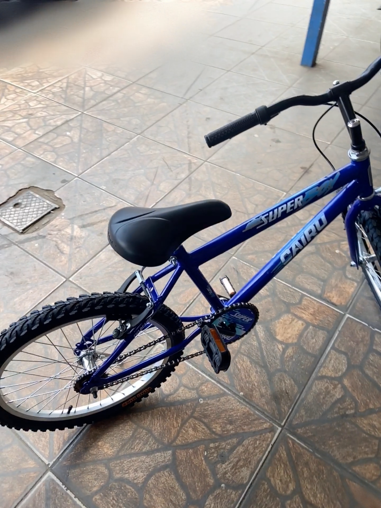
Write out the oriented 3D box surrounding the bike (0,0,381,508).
[{"bbox_3d":[0.008,-0.013,0.878,1.183,0.950,0.545,-26,54,-17],"label":"bike"}]
